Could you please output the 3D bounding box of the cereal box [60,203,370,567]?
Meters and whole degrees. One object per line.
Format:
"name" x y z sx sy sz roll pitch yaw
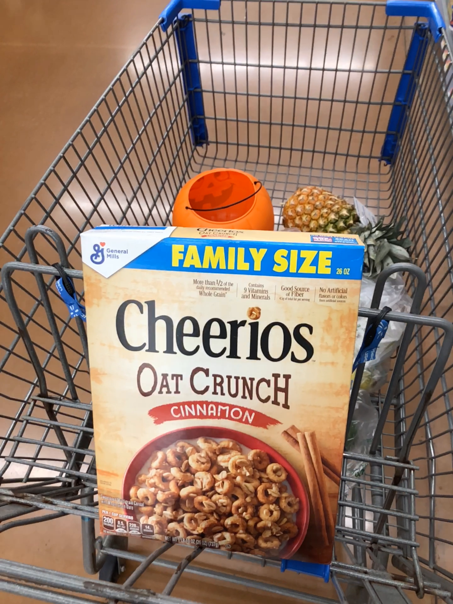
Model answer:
"cereal box" -0.013 0.081 0.487 0.250 0.330 0.080 4 19 7
